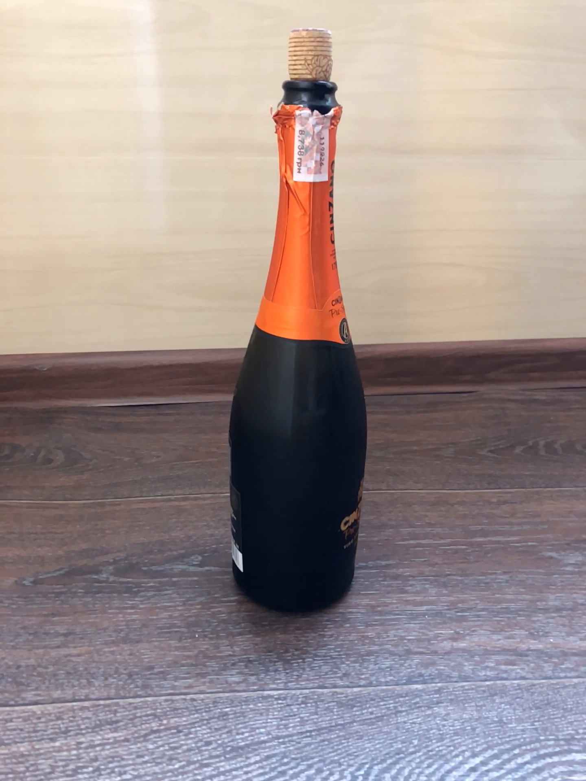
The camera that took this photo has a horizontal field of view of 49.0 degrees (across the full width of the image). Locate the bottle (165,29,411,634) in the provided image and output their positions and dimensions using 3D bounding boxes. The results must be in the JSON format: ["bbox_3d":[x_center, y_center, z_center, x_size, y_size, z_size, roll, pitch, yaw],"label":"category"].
[{"bbox_3d":[0.003,-0.025,0.389,0.100,0.328,0.093,0,23,0],"label":"bottle"}]
